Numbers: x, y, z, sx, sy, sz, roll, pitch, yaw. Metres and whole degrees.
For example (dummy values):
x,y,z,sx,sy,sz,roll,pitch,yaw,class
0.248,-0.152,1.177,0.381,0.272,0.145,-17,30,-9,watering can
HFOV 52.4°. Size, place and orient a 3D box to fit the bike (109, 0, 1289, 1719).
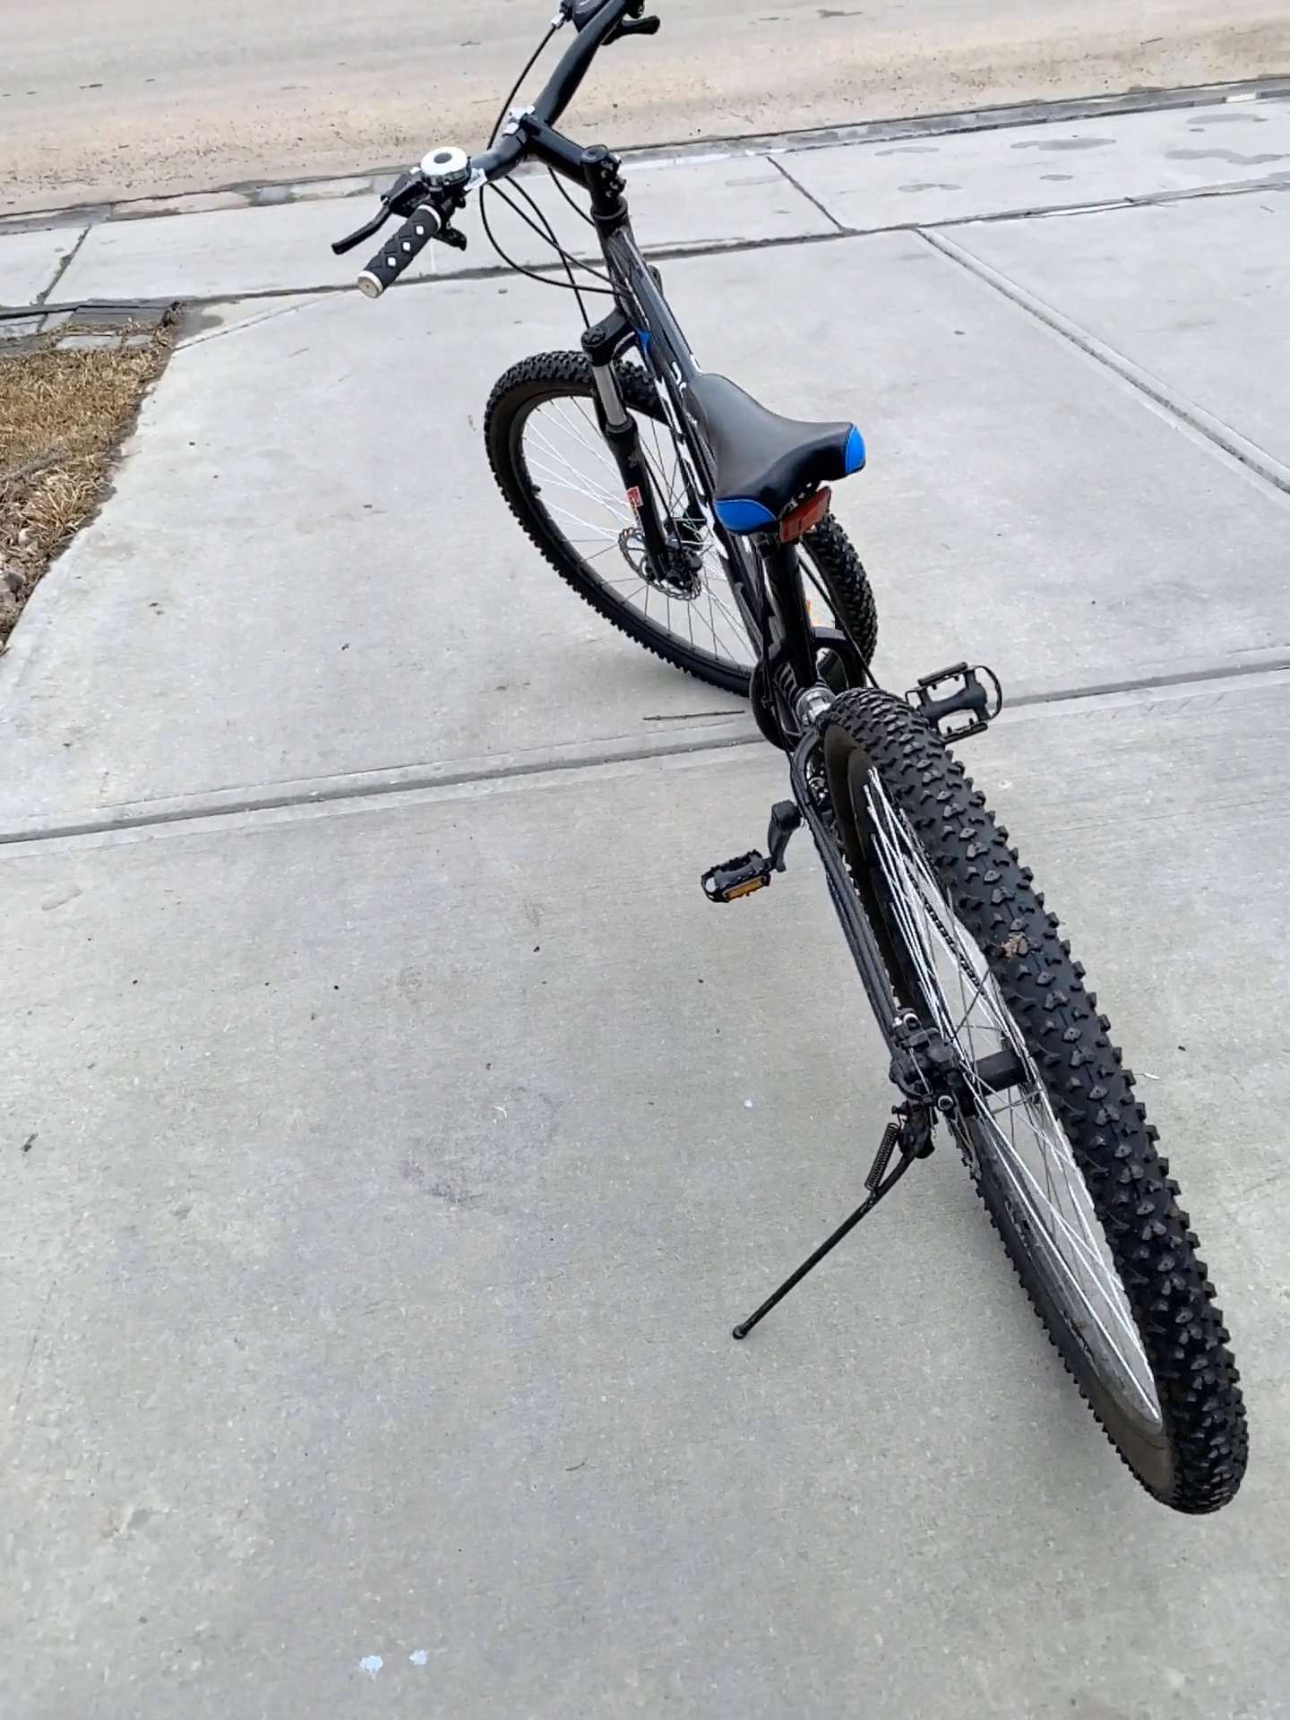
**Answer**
x,y,z,sx,sy,sz,roll,pitch,yaw,class
-0.002,-0.227,1.424,0.627,1.173,1.798,-17,43,-13,bike
